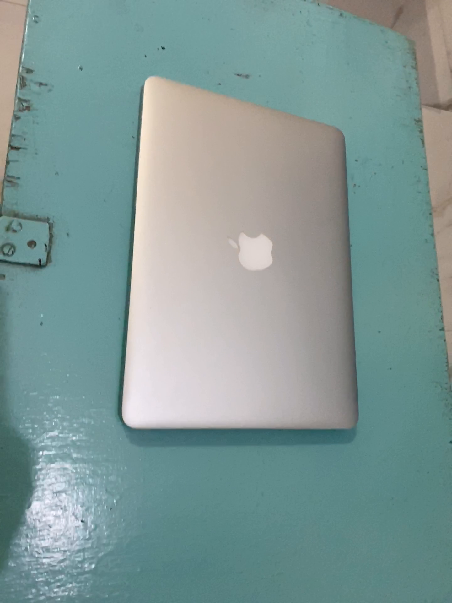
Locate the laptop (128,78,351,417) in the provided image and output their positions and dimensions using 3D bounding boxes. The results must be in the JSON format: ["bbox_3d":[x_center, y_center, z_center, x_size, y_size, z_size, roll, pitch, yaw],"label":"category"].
[{"bbox_3d":[0.020,-0.045,0.426,0.209,0.007,0.291,6,76,-24],"label":"laptop"}]
